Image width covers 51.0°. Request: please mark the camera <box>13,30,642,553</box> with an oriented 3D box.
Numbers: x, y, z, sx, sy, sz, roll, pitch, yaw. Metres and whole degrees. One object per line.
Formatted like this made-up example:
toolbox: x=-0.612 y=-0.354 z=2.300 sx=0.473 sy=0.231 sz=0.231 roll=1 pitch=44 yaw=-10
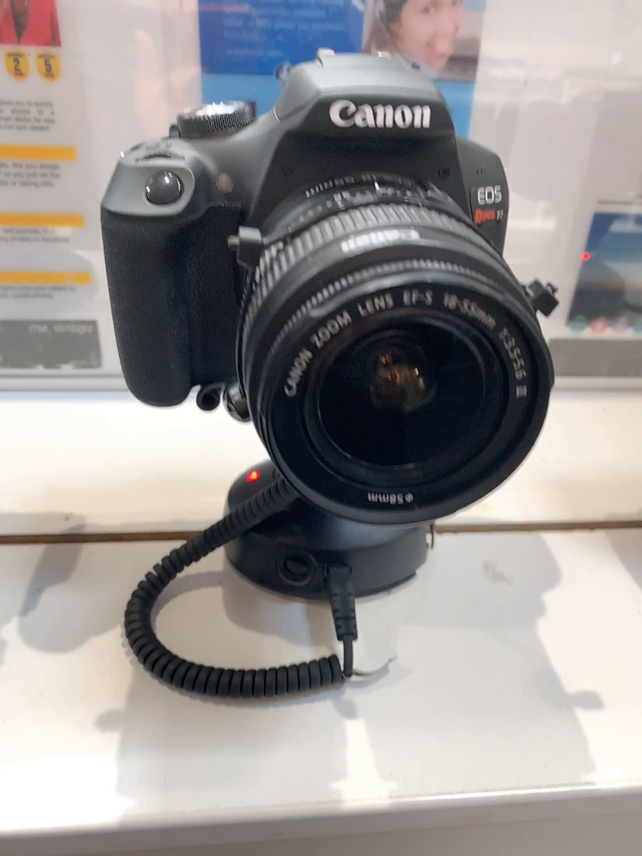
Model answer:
camera: x=0.004 y=-0.045 z=0.185 sx=0.122 sy=0.104 sz=0.110 roll=0 pitch=31 yaw=-7
